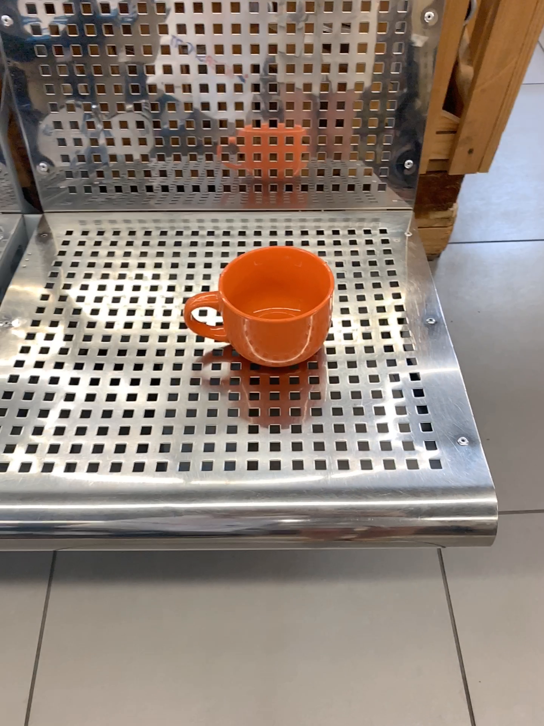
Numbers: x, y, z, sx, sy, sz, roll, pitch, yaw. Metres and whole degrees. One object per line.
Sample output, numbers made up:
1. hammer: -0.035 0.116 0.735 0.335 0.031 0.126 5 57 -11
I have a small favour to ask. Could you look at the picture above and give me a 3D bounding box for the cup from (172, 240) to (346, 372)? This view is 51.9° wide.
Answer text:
1. cup: -0.012 -0.057 0.545 0.150 0.070 0.110 -1 46 -1
